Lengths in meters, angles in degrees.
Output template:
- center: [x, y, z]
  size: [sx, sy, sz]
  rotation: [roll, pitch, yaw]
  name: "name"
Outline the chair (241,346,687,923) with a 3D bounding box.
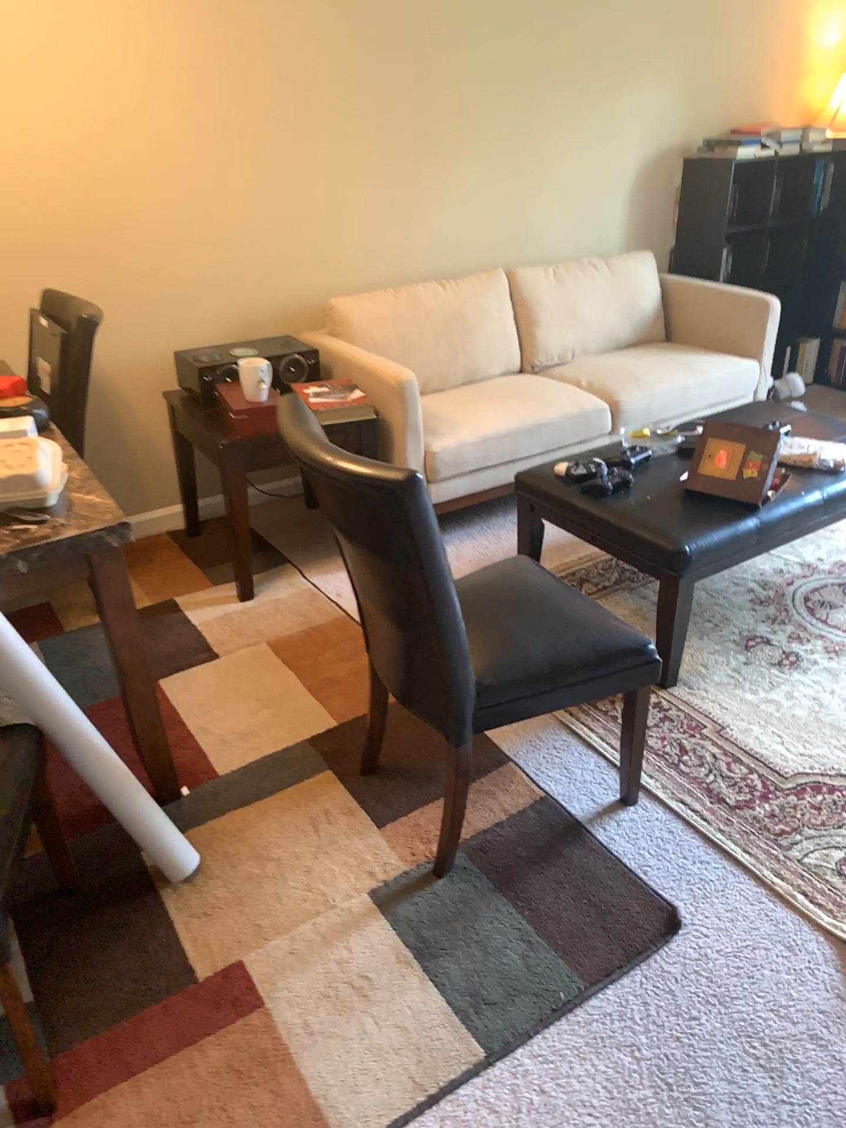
- center: [0.077, 0.106, 1.783]
  size: [0.650, 0.914, 0.493]
  rotation: [-17, 32, -27]
  name: "chair"
